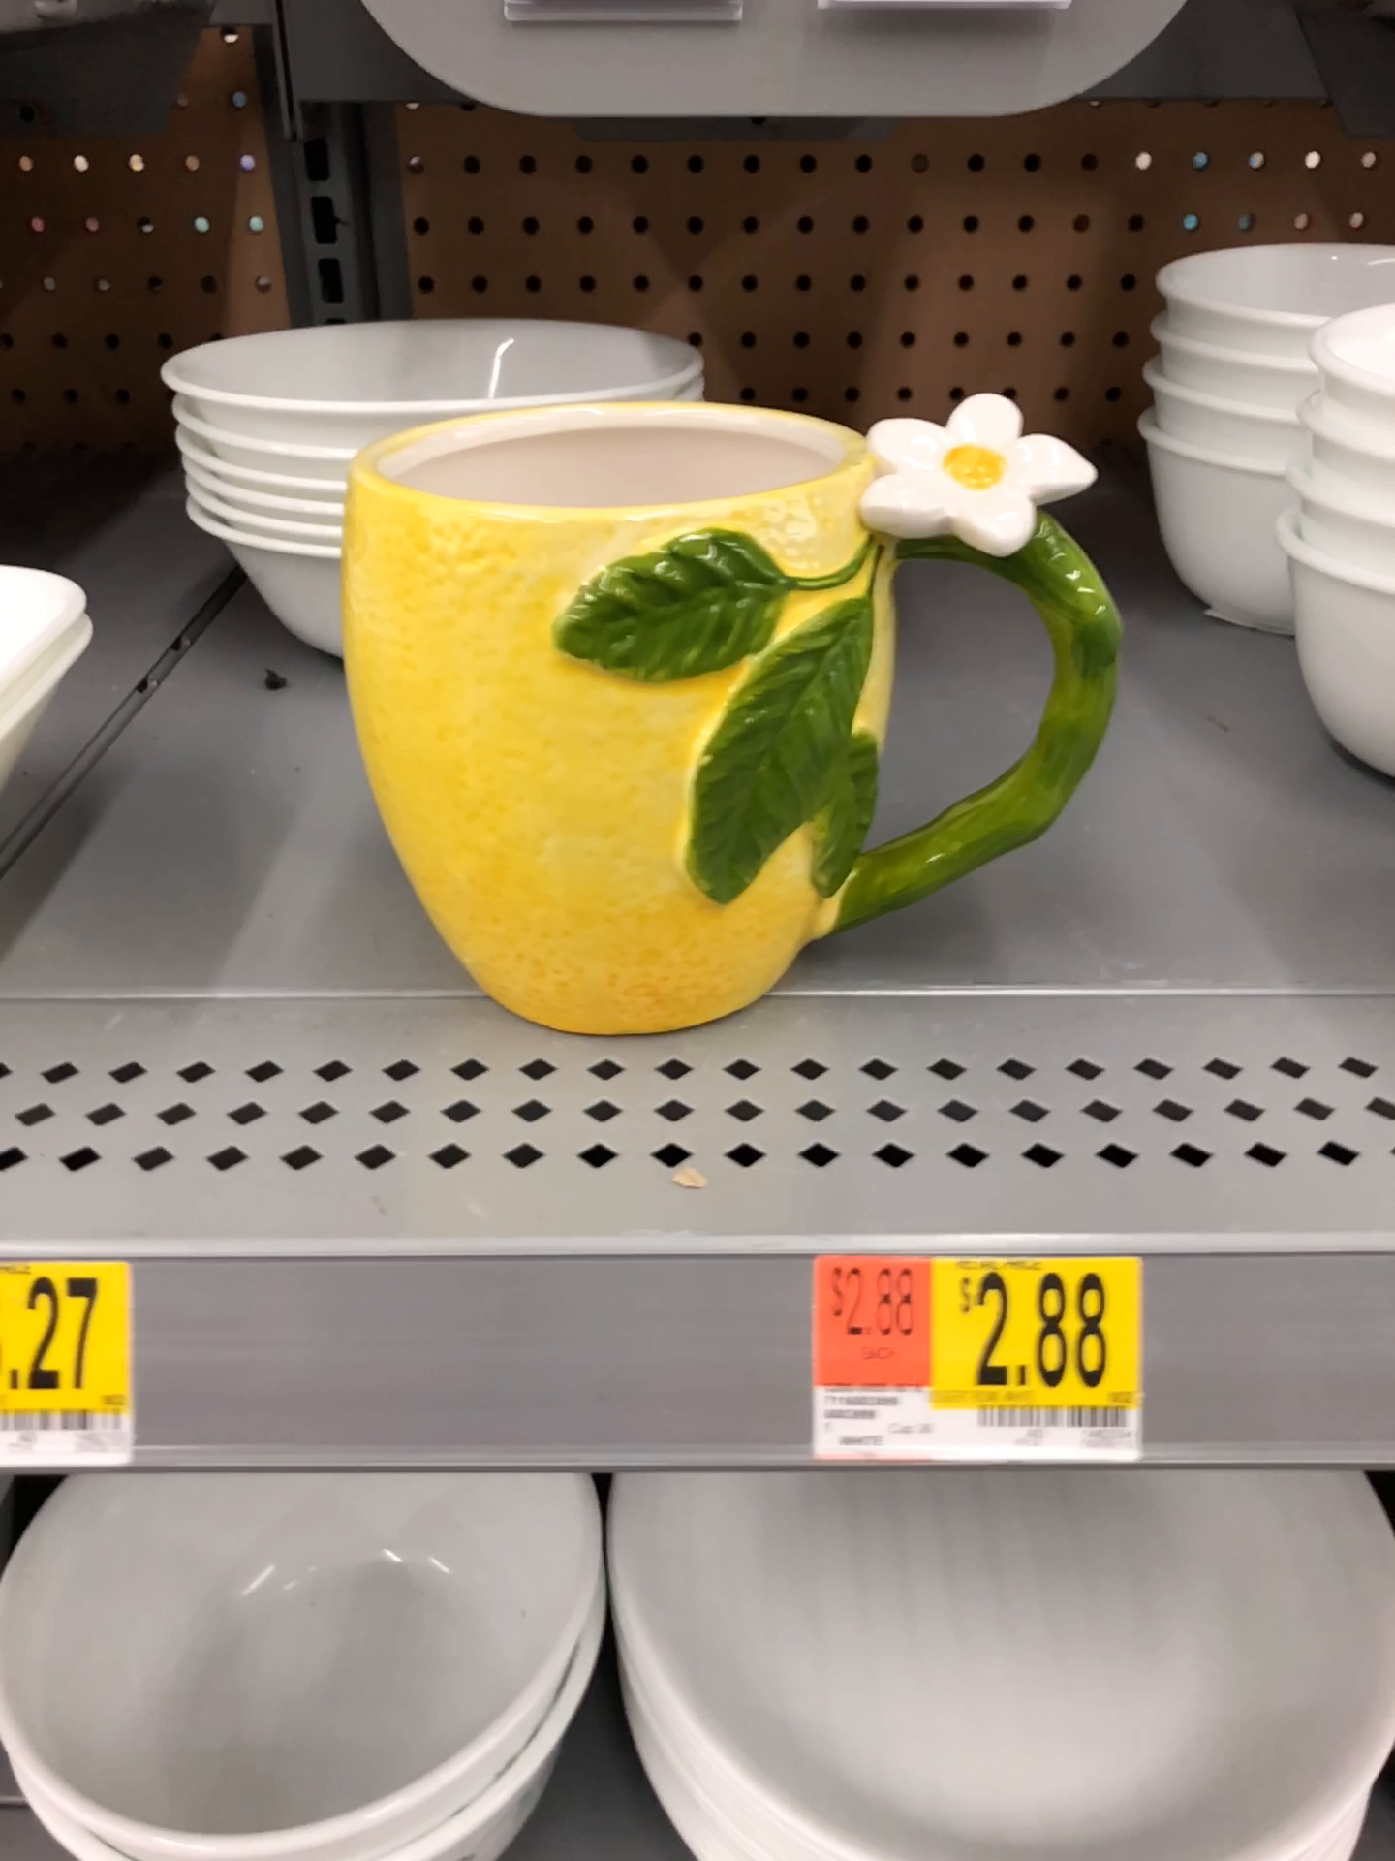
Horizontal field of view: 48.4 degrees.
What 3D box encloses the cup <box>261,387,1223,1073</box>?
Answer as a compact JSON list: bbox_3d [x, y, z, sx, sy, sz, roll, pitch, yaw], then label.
[{"bbox_3d":[0.008,-0.043,0.292,0.139,0.094,0.101,1,30,3],"label":"cup"}]
